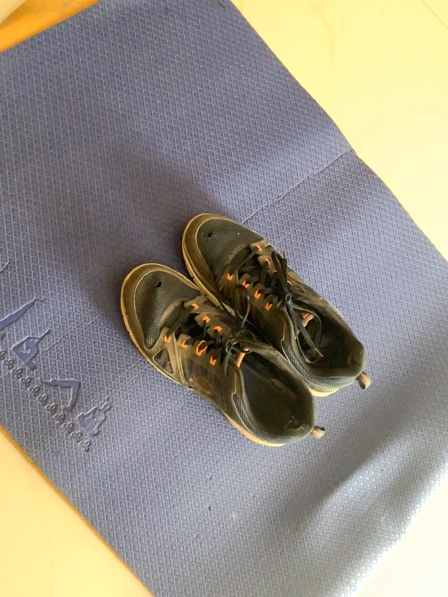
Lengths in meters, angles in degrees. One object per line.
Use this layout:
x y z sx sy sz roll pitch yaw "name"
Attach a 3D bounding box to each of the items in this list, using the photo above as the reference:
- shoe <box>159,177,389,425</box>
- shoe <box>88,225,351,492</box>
0.059 0.007 0.613 0.100 0.100 0.320 -41 92 -12 "shoe"
-0.010 0.073 0.556 0.310 0.100 0.110 45 71 -3 "shoe"
